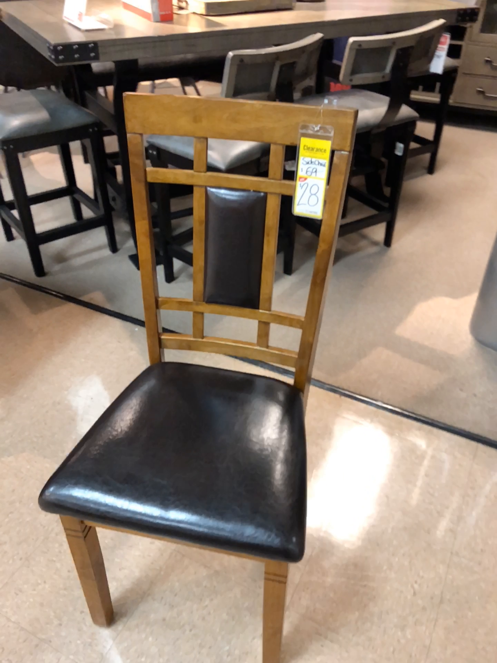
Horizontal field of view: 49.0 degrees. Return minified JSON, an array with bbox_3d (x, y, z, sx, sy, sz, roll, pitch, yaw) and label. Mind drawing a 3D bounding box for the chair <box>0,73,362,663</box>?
[{"bbox_3d":[-0.094,0.124,1.026,0.450,0.993,0.503,8,39,10],"label":"chair"}]
